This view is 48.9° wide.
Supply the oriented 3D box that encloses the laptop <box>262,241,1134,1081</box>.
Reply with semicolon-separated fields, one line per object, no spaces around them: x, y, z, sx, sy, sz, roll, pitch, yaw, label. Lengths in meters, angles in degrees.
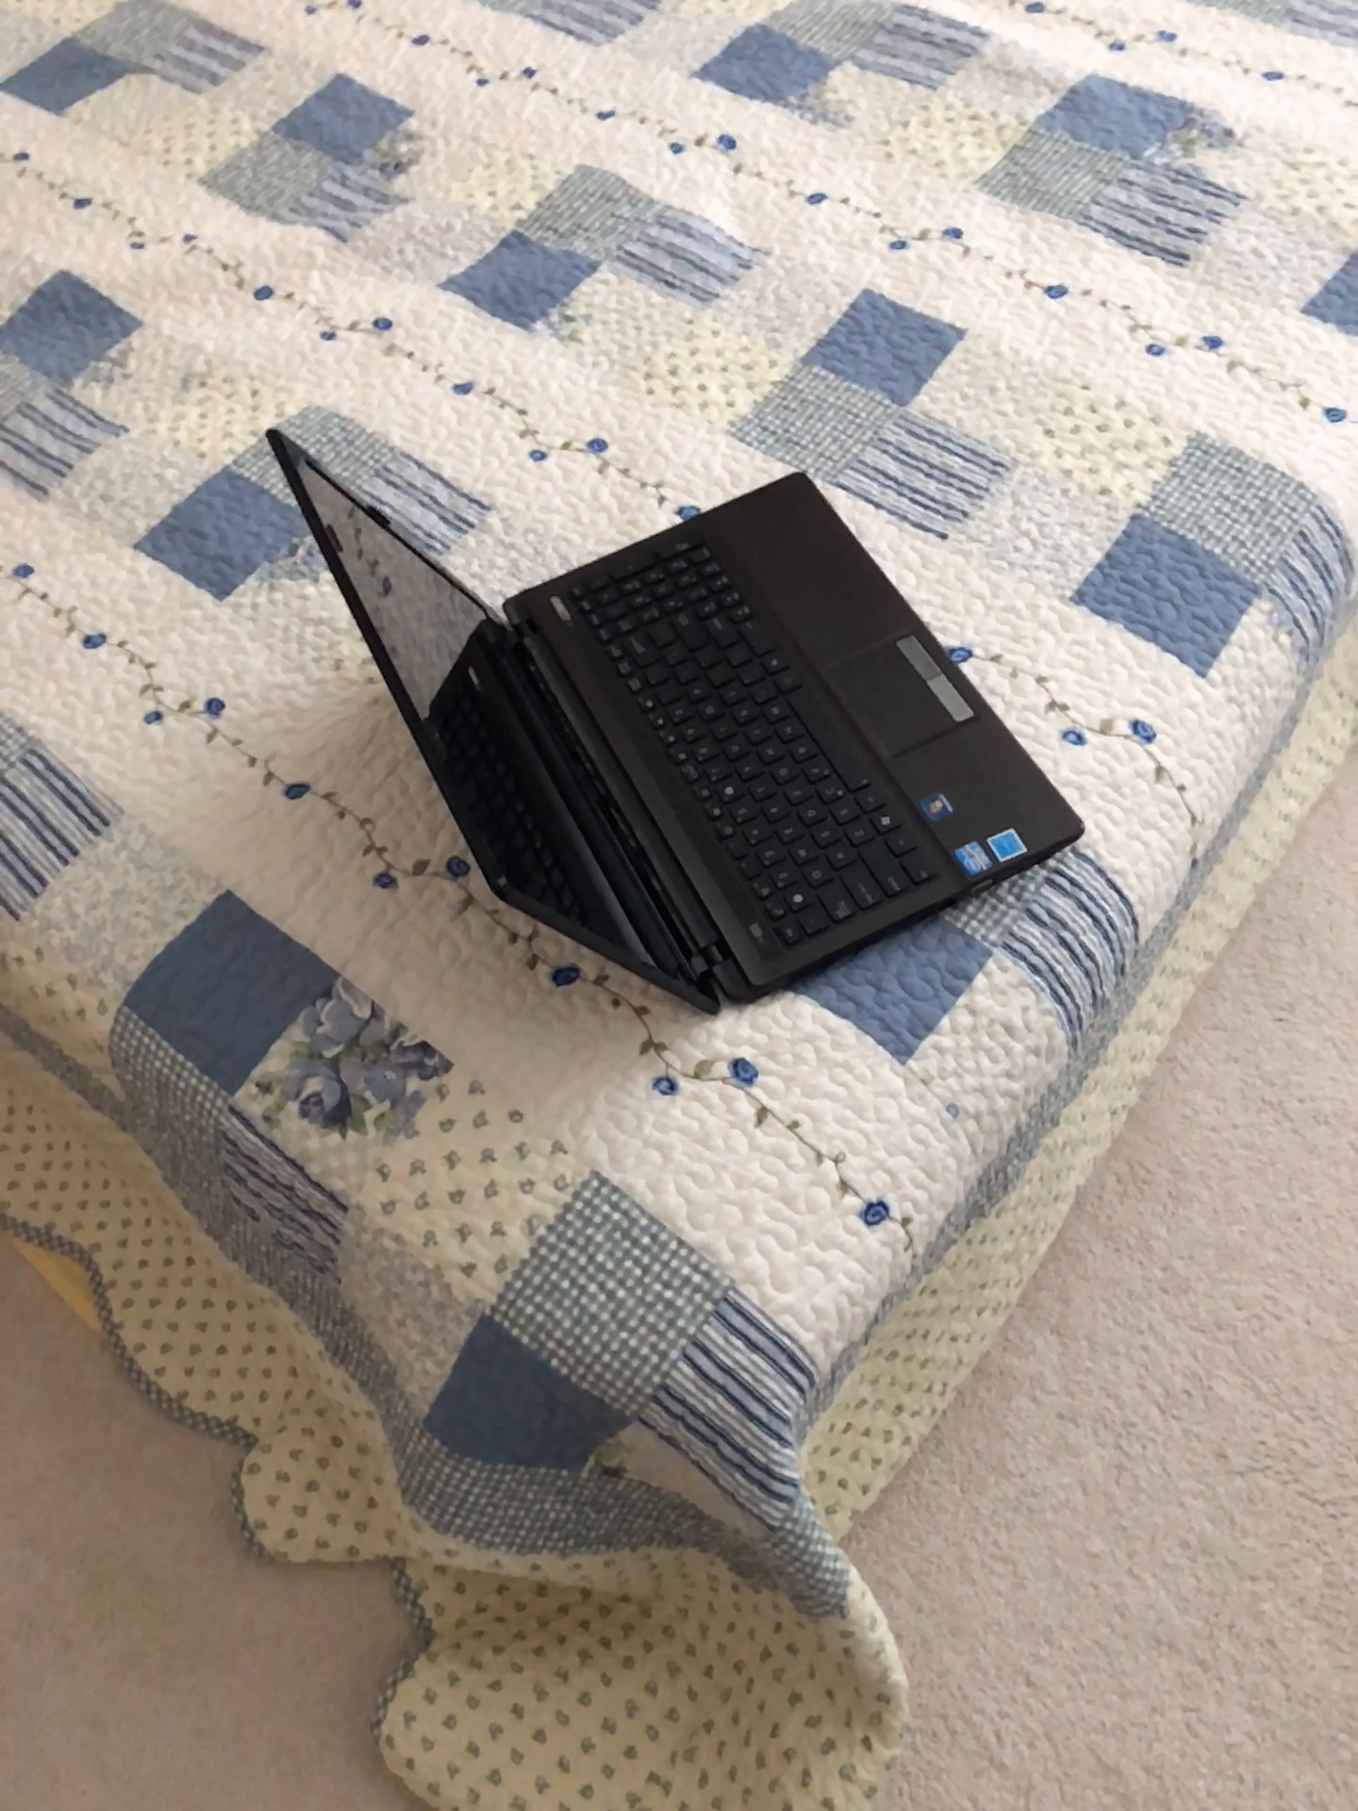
0.001;-0.157;0.885;0.350;0.193;0.359;-24;59;-10;laptop
